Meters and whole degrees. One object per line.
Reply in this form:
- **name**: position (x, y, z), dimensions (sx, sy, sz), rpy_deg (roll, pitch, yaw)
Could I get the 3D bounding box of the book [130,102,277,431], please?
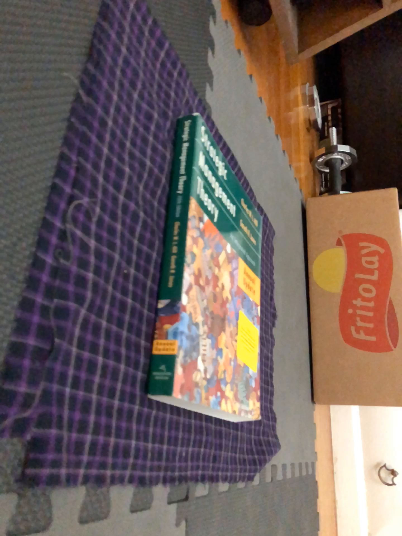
- **book**: position (0.026, 0.015, 0.471), dimensions (0.231, 0.040, 0.281), rpy_deg (44, 47, -56)
